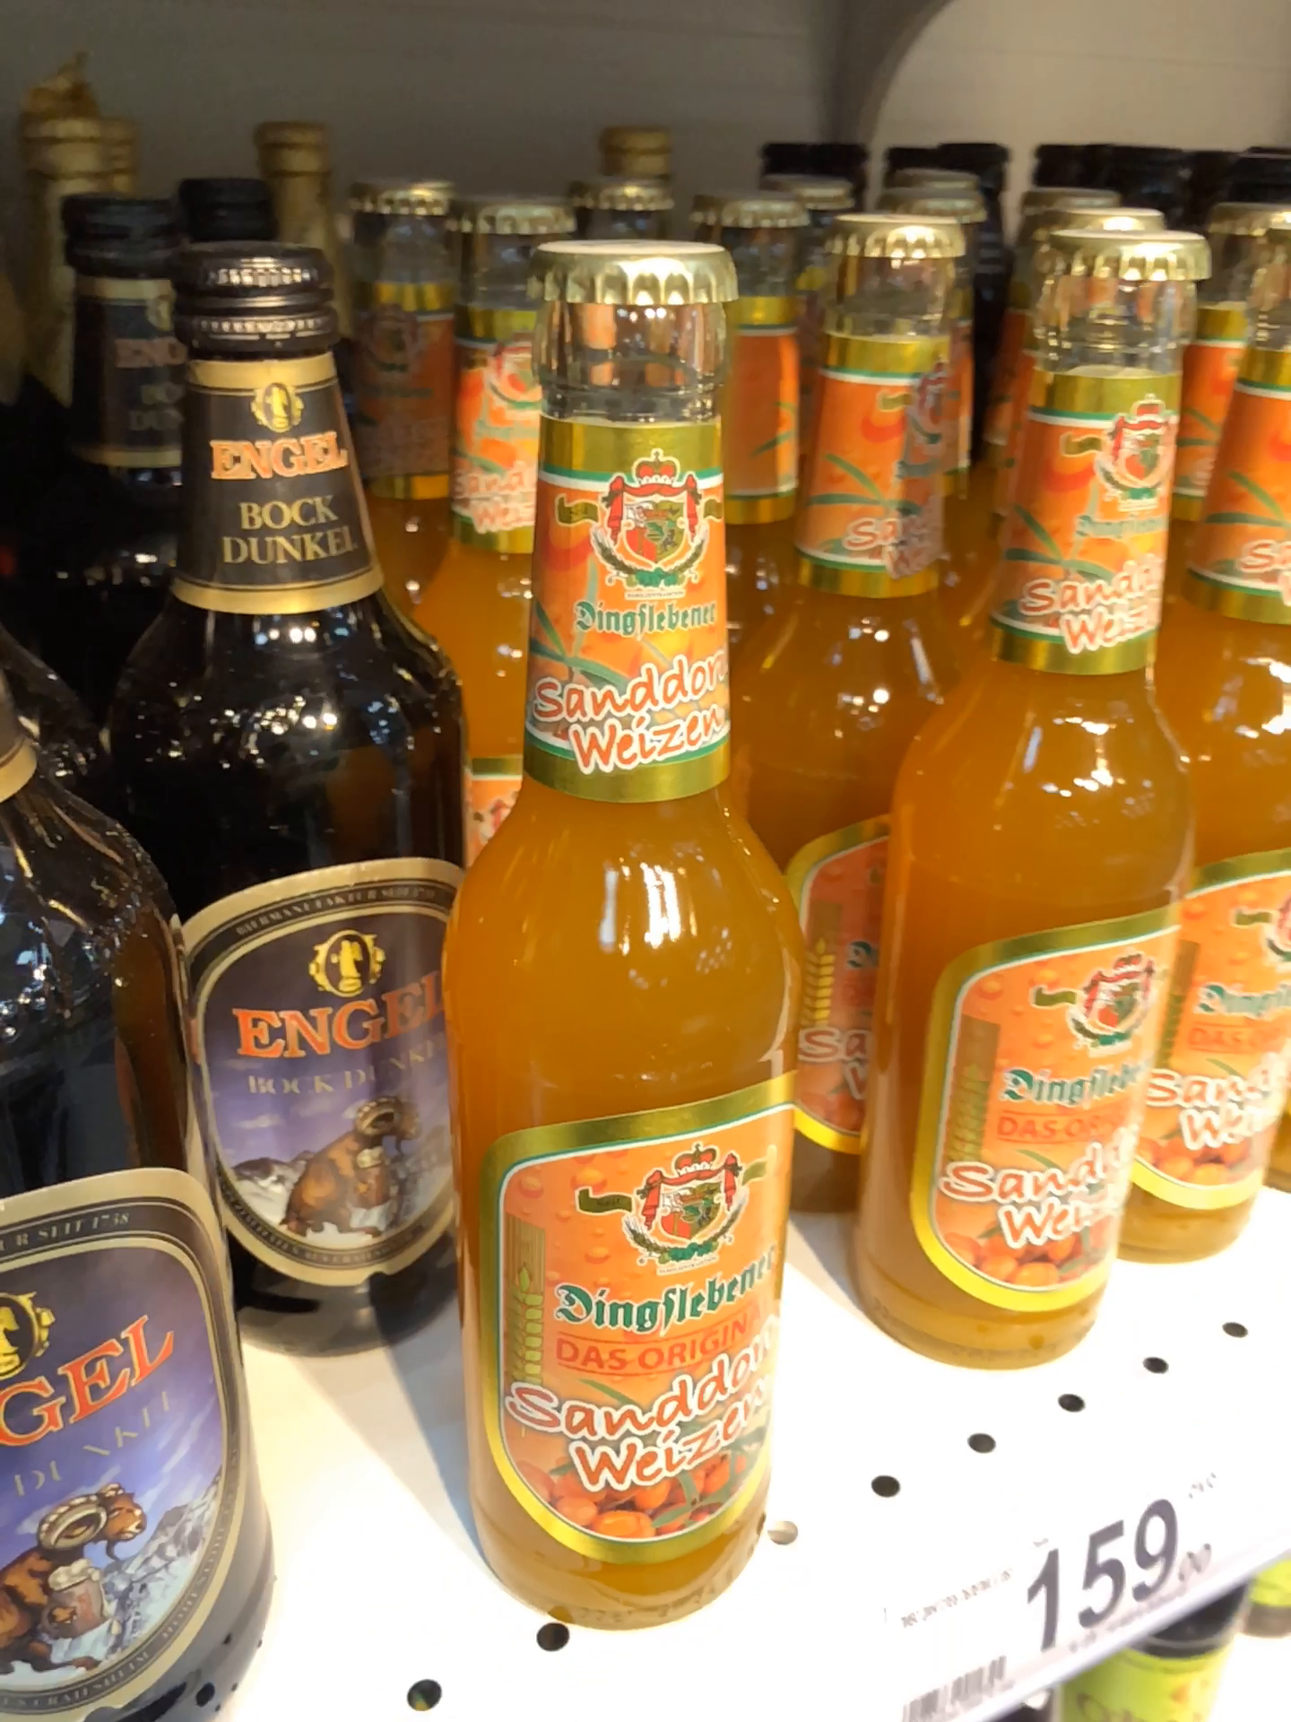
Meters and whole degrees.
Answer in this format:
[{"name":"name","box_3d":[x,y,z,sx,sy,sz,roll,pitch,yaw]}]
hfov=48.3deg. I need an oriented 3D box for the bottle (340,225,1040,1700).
[{"name":"bottle","box_3d":[0.000,0.022,0.231,0.070,0.225,0.060,-9,28,-21]}]
